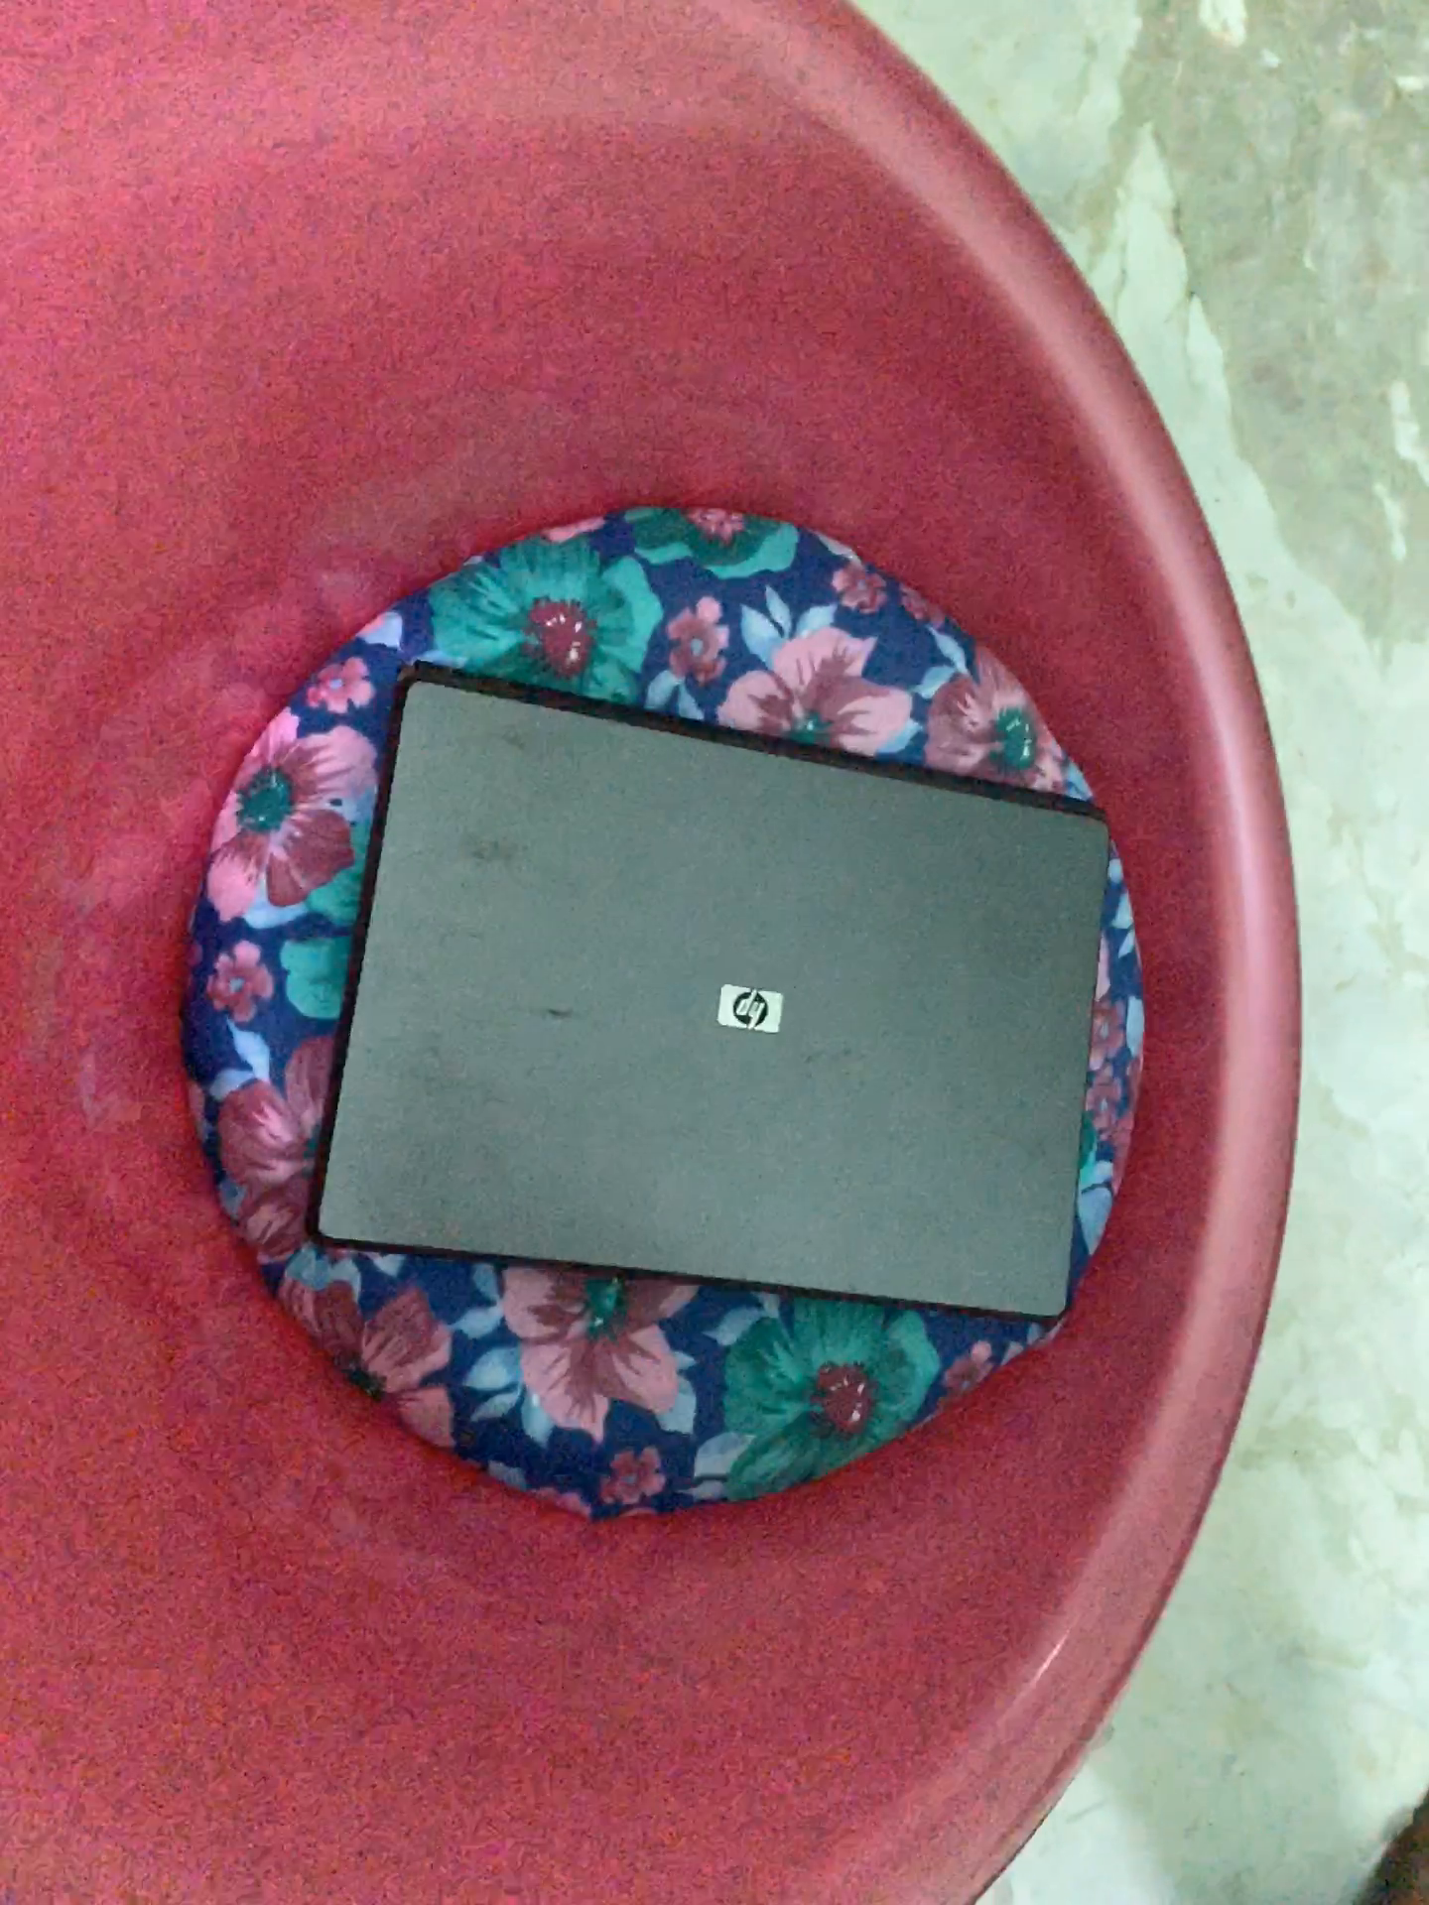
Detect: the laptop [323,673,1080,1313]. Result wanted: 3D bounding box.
[{"bbox_3d":[0.010,0.024,0.602,0.304,0.003,0.222,9,82,-18],"label":"laptop"}]
